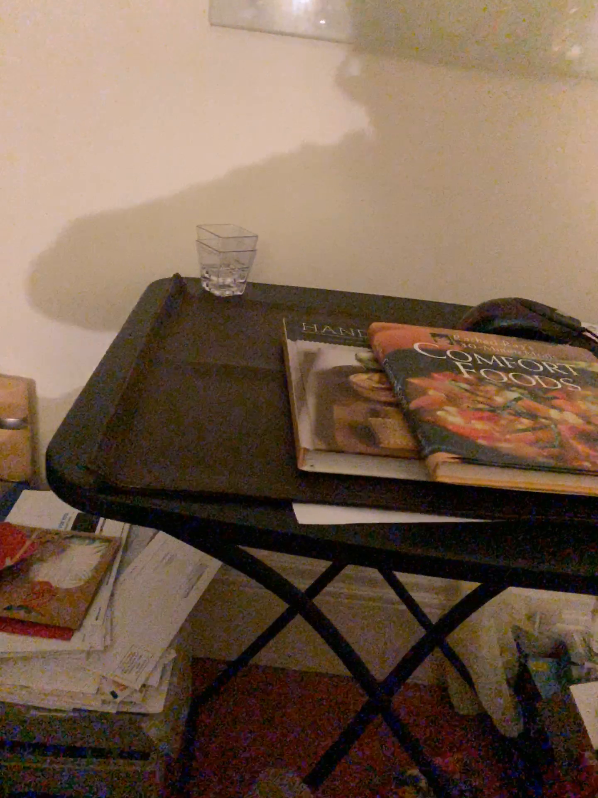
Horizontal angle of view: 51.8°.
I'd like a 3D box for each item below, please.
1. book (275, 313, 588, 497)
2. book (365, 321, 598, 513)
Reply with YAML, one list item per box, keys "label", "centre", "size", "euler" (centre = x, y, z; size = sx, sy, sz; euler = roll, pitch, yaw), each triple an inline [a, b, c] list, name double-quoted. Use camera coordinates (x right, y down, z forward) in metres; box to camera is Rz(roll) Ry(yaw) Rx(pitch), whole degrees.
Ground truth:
- label: "book"
  centre: [0.077, -0.007, 0.466]
  size: [0.180, 0.020, 0.221]
  euler: [5, 27, -8]
- label: "book"
  centre: [0.166, 0.001, 0.443]
  size: [0.200, 0.020, 0.211]
  euler: [5, 27, -9]
